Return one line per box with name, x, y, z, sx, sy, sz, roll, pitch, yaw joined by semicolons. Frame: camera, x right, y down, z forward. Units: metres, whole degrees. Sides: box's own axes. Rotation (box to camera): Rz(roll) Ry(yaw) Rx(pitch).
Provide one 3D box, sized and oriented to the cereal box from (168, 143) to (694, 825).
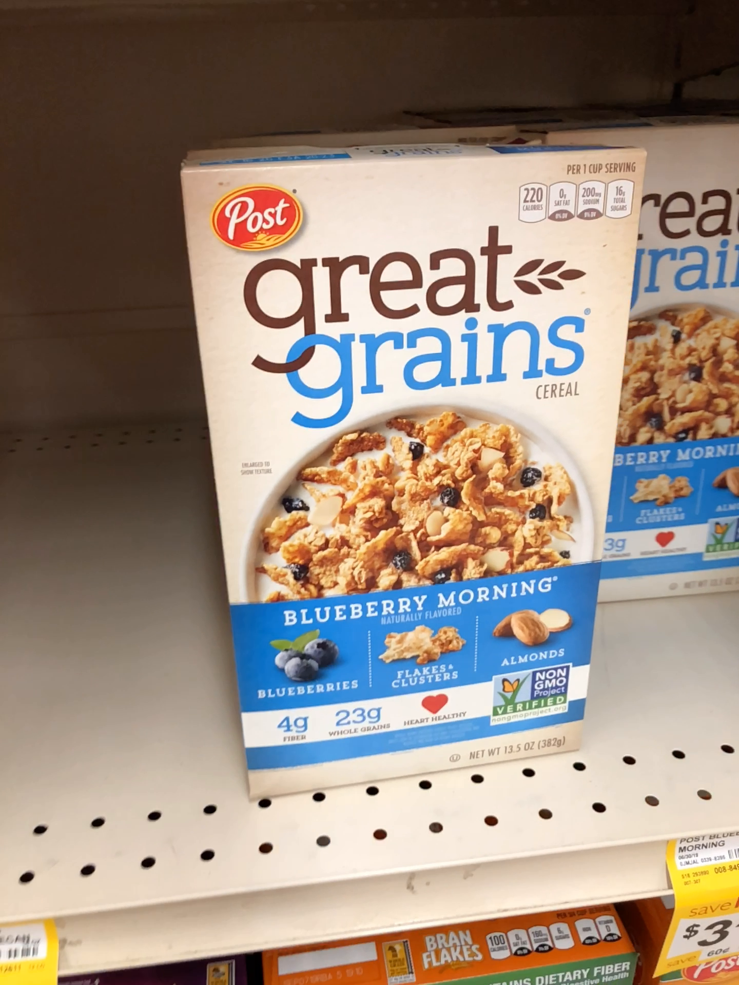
cereal box;0.024;0.003;0.358;0.180;0.279;0.060;-5;24;-8
